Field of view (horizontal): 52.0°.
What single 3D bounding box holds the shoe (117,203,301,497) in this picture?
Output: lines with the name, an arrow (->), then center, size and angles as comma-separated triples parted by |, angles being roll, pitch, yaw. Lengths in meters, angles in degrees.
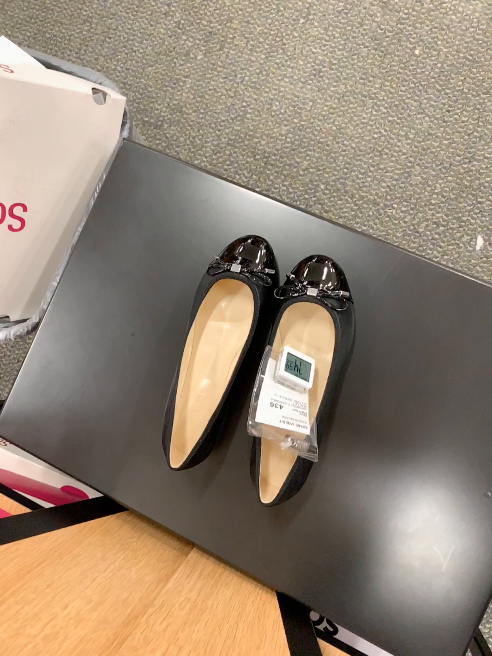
shoe -> -0.029, 0.021, 0.505 | 0.090, 0.100, 0.250 | 18, 89, 11

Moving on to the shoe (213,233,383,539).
shoe -> 0.053, 0.051, 0.488 | 0.090, 0.100, 0.250 | 14, 89, 11
